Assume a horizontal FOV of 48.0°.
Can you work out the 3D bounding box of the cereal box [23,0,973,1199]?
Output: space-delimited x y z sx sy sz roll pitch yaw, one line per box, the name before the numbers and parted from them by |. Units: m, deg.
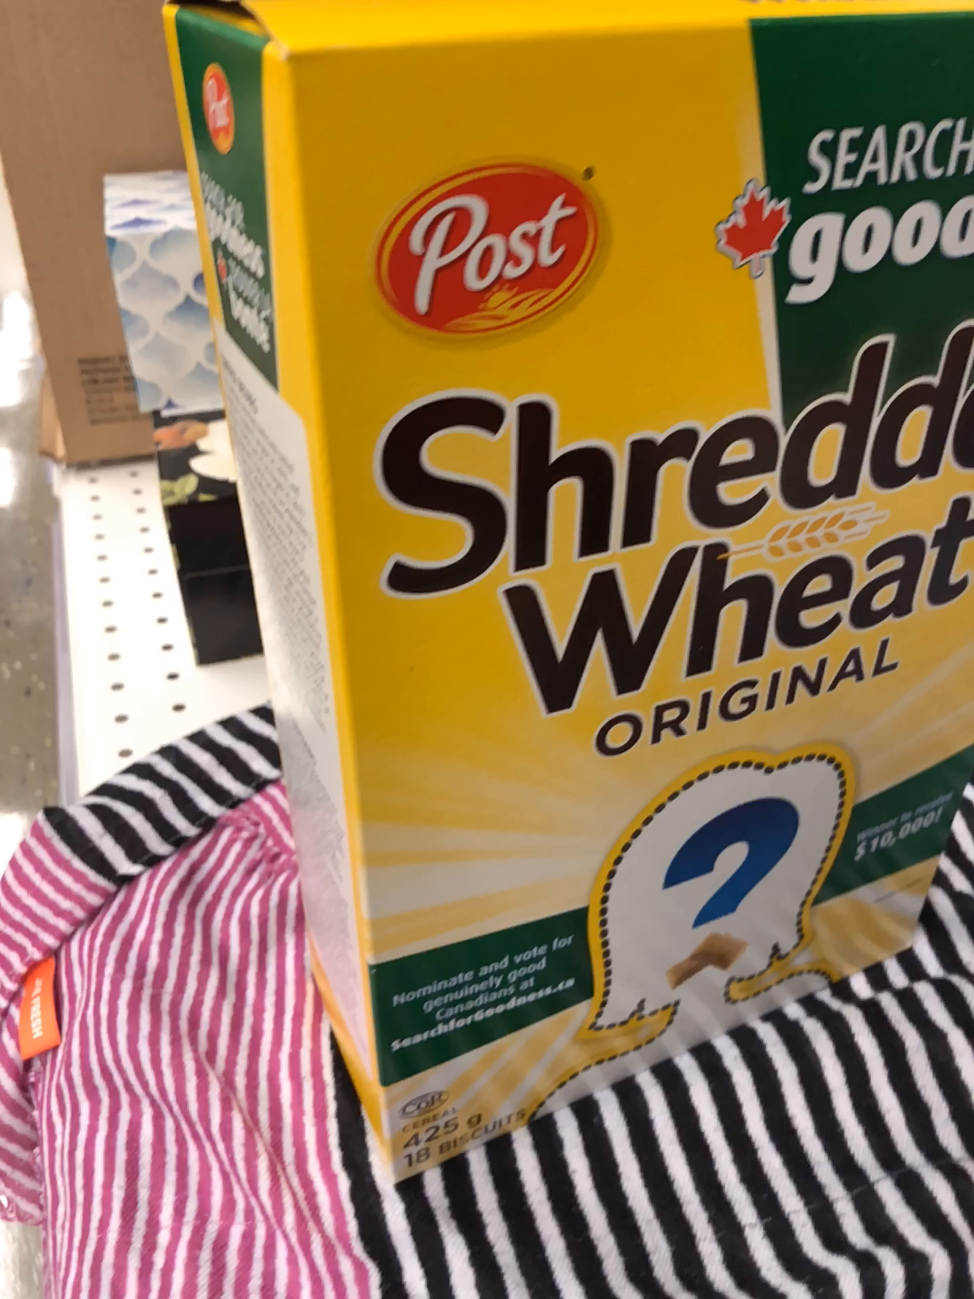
cereal box | 0.034 -0.018 0.268 0.210 0.269 0.080 -16 38 -22
